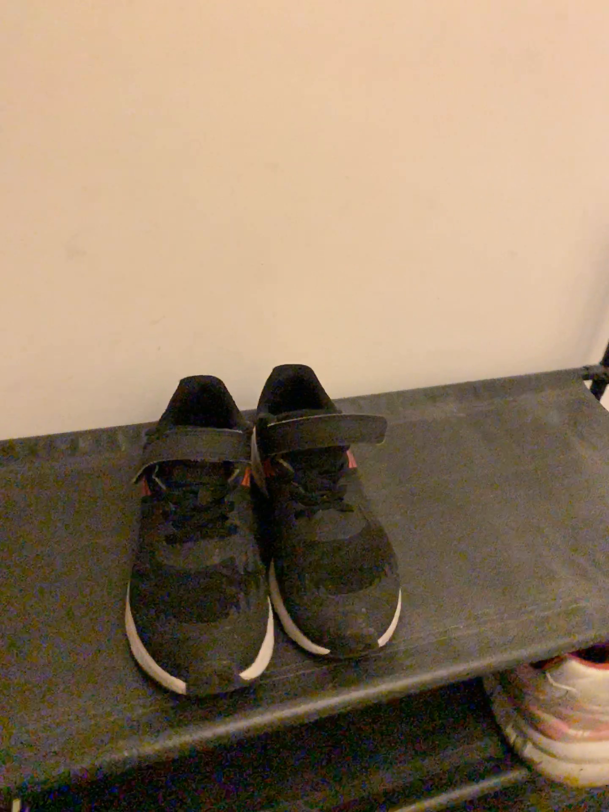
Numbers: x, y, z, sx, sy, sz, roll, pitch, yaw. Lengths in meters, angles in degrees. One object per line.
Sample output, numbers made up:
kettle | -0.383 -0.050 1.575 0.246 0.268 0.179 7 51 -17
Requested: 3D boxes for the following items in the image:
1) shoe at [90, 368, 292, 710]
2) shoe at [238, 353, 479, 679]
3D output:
shoe | -0.071 0.063 0.386 0.090 0.079 0.202 -3 34 -11
shoe | 0.017 0.052 0.400 0.090 0.079 0.202 -5 34 -13
